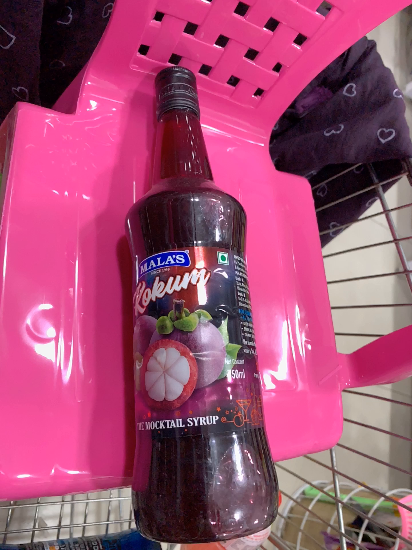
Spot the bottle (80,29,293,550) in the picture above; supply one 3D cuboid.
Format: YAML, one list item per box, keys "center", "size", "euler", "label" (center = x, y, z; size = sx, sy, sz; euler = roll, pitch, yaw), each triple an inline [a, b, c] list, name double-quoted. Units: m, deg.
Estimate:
- center: [-0.011, 0.004, 0.257]
  size: [0.080, 0.080, 0.260]
  euler: [21, 63, -56]
  label: "bottle"
